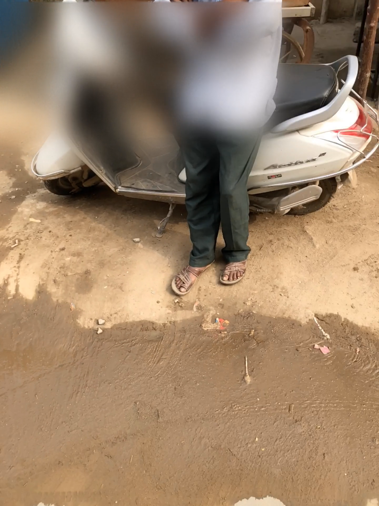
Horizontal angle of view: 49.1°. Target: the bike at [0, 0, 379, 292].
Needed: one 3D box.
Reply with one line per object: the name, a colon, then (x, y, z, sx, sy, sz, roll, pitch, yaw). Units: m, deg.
bike: (-0.110, -0.500, 1.853, 1.574, 1.112, 0.660, 3, 41, 10)
